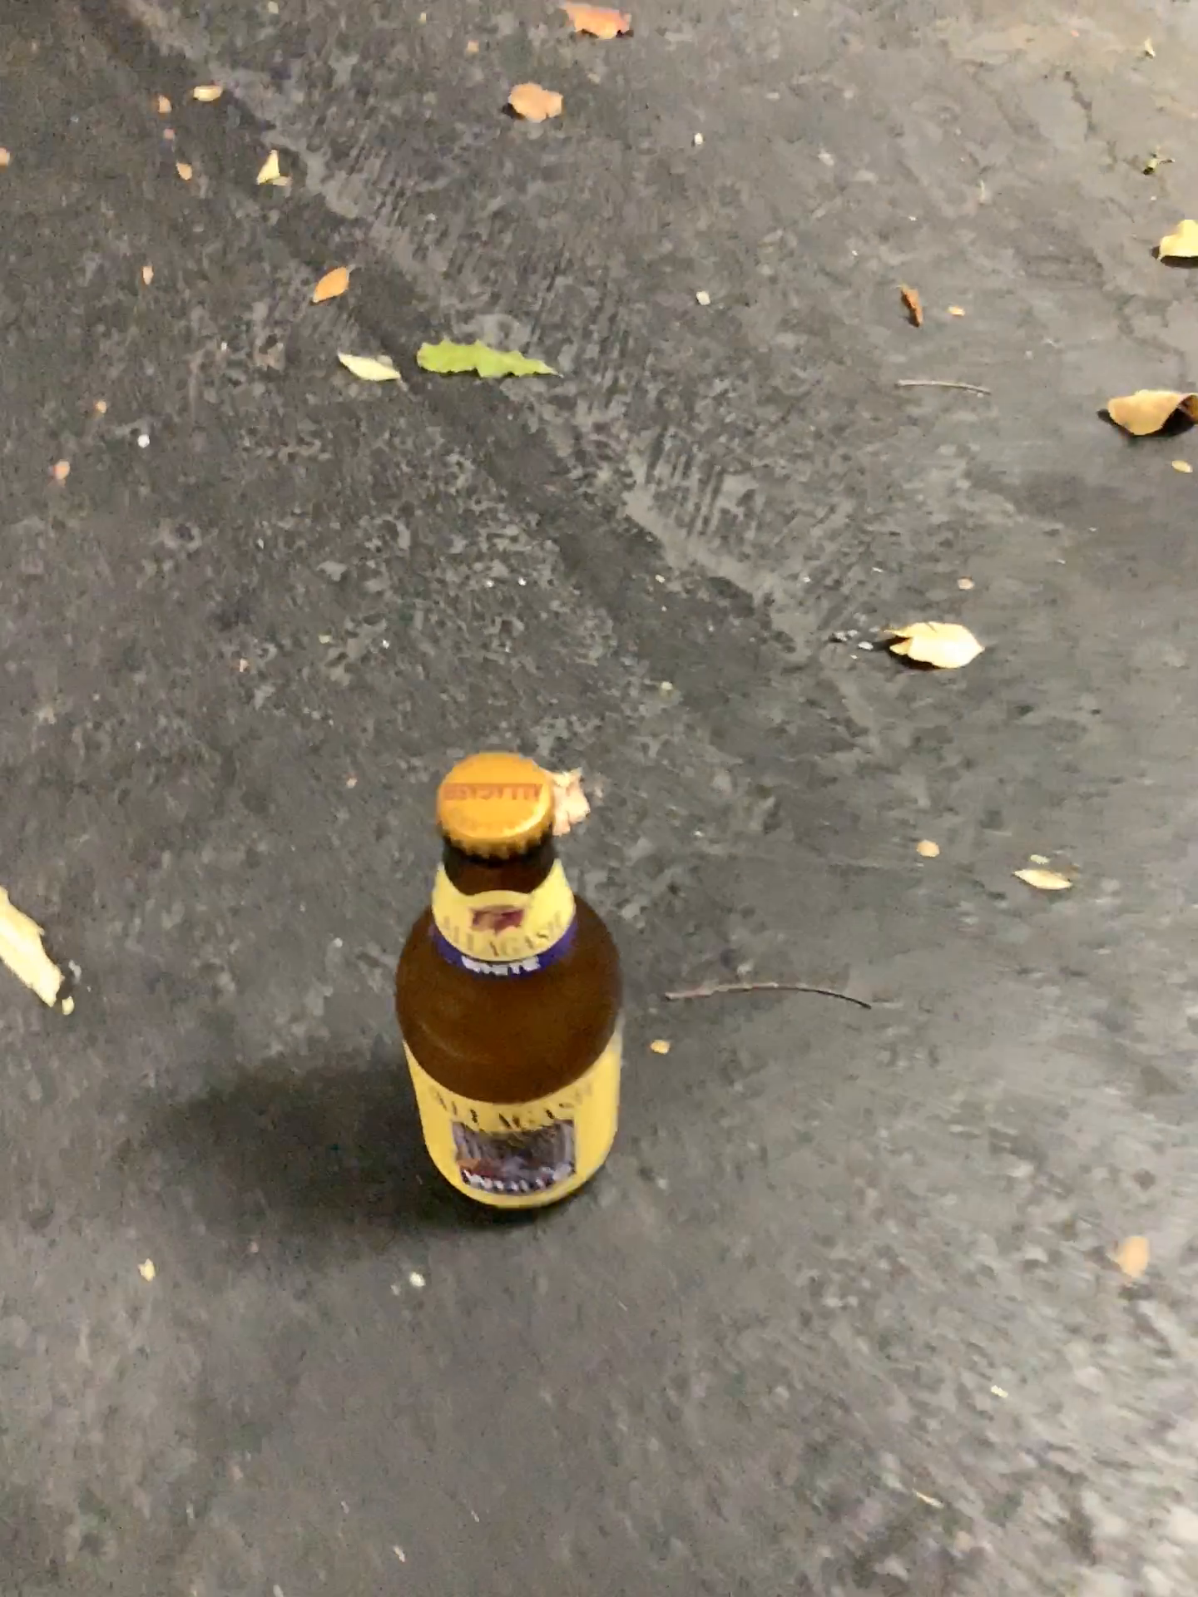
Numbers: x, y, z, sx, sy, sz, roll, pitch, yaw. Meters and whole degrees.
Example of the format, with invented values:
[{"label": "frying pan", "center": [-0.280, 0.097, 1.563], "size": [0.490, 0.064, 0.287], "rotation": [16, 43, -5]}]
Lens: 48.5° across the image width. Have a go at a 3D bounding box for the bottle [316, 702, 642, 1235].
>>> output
[{"label": "bottle", "center": [-0.029, 0.060, 0.384], "size": [0.070, 0.190, 0.070], "rotation": [0, 55, -1]}]
